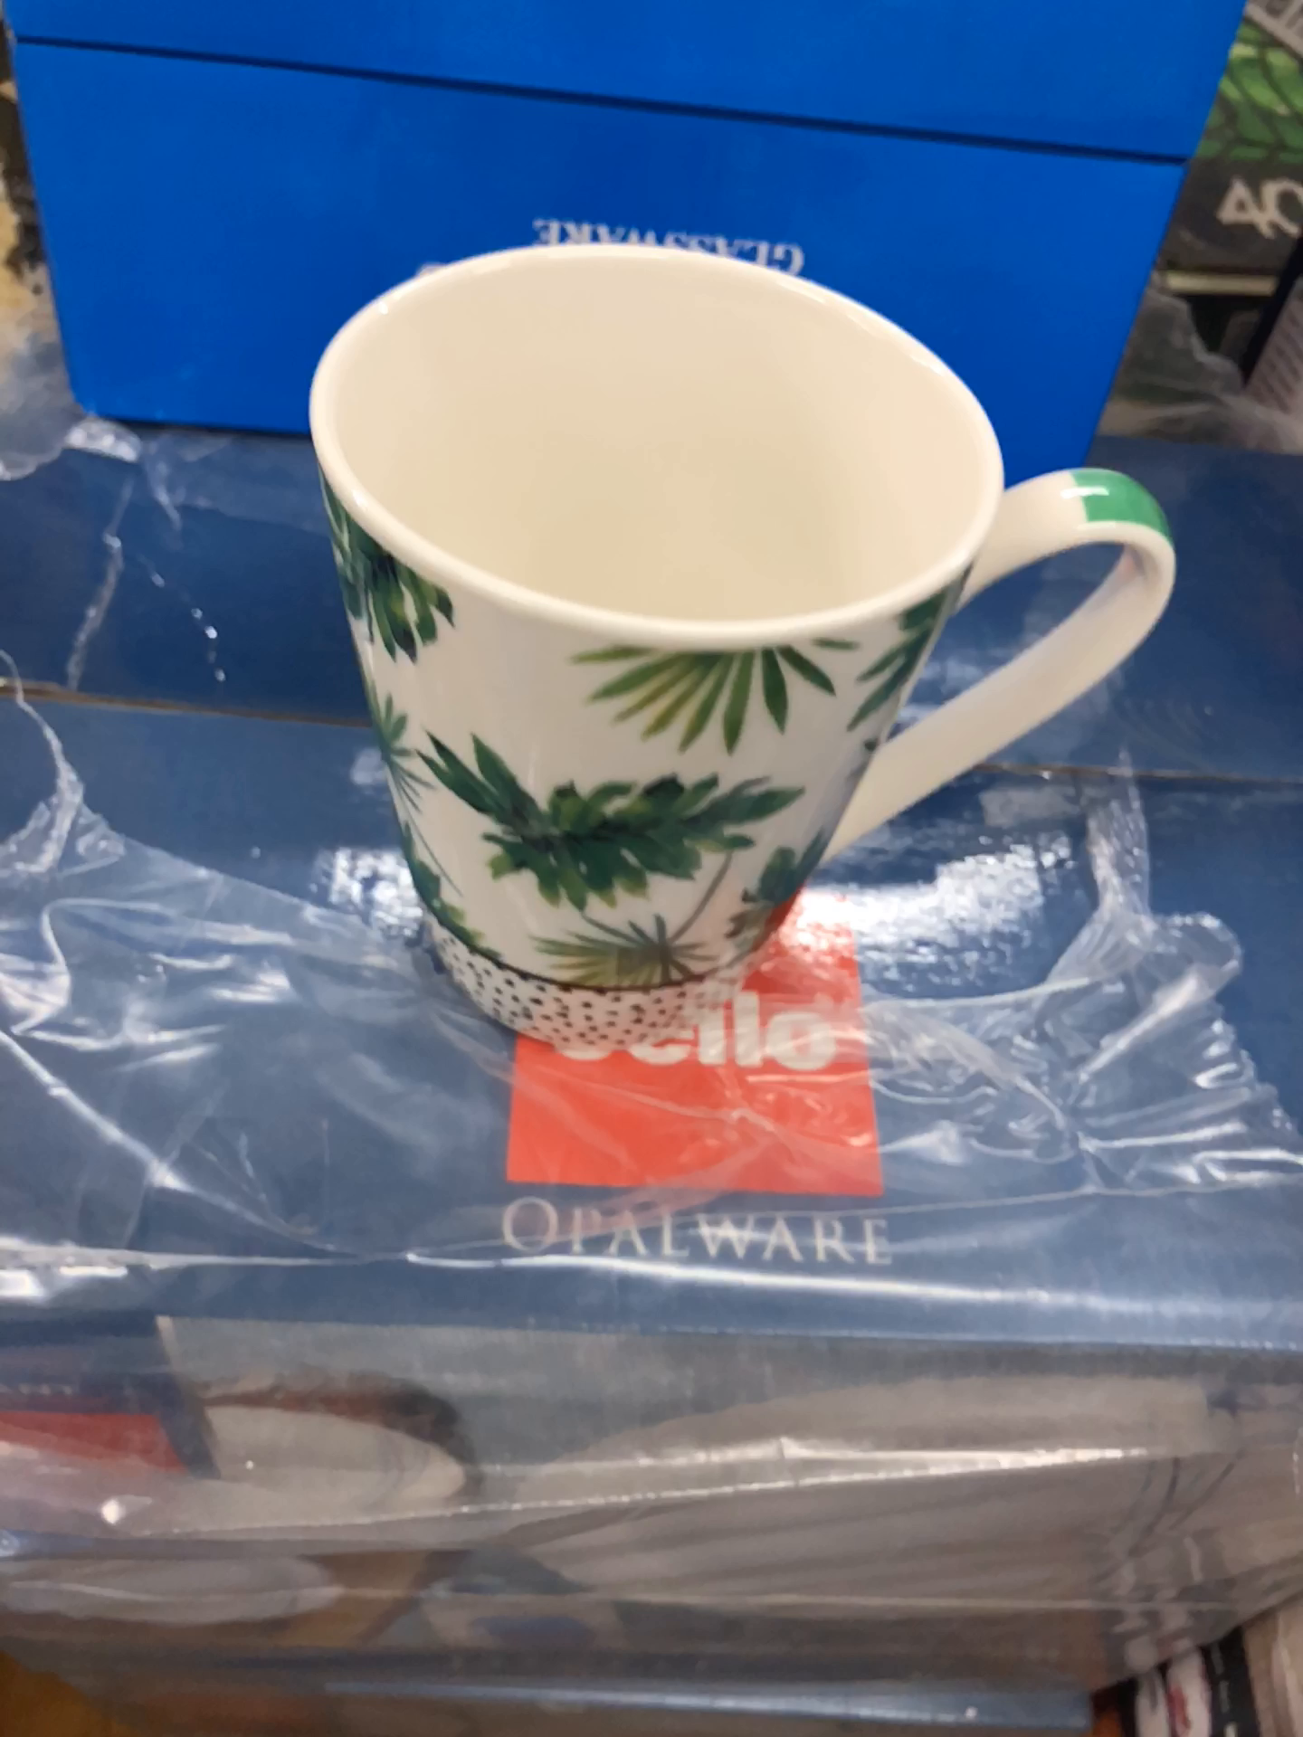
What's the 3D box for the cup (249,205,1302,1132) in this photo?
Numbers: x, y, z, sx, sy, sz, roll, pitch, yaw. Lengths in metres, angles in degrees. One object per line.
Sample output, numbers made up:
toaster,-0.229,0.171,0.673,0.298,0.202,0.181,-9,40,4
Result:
cup,0.010,-0.029,0.218,0.120,0.099,0.080,-6,53,-12
